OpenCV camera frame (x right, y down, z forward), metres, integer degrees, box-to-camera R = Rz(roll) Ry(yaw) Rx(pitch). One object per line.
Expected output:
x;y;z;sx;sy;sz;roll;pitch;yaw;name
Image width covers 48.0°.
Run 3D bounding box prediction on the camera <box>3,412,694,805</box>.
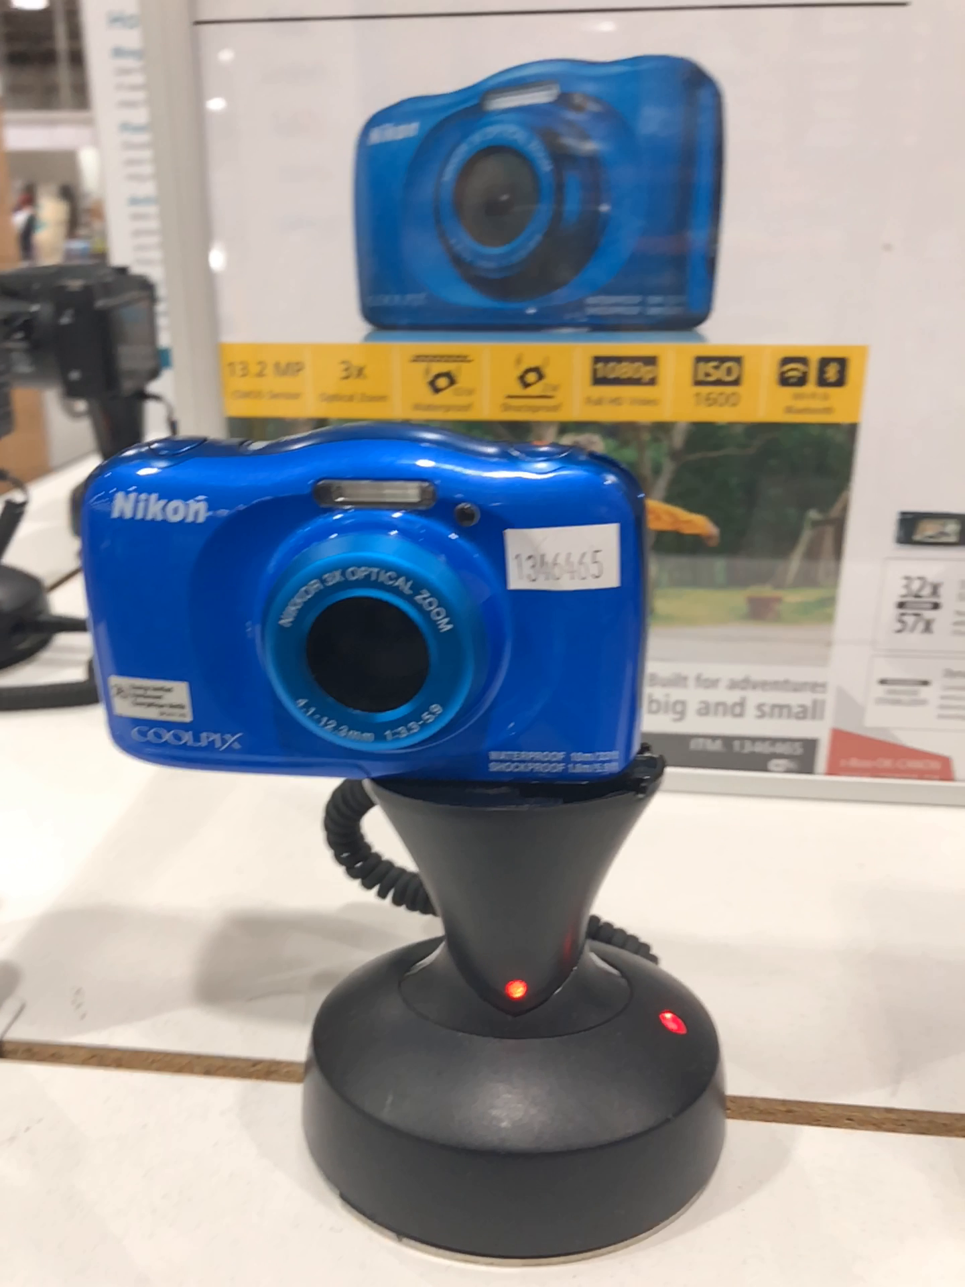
-0.021;-0.009;0.200;0.110;0.060;0.040;2;21;3;camera
